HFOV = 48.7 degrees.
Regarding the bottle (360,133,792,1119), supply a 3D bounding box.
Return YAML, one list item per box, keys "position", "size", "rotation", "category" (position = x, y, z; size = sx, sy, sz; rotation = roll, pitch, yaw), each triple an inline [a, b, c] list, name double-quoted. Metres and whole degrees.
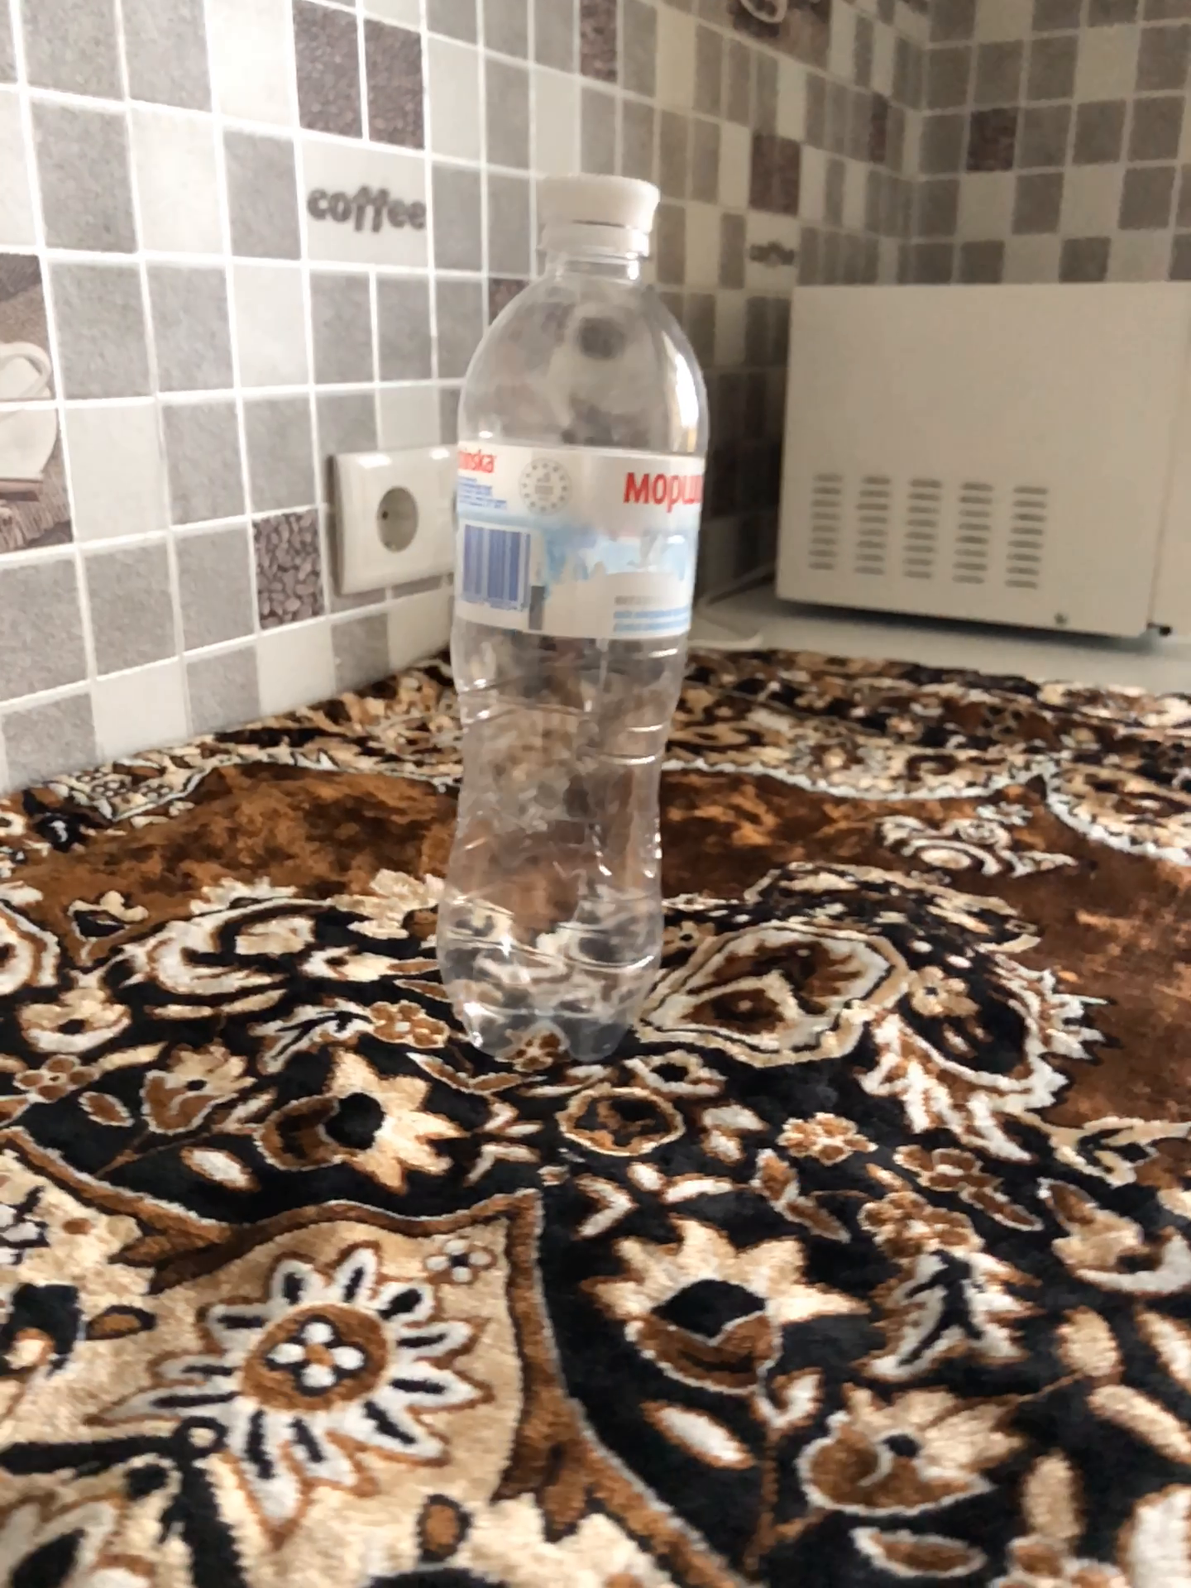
- position: [-0.008, -0.047, 0.386]
  size: [0.080, 0.249, 0.090]
  rotation: [12, 19, 27]
  category: "bottle"
